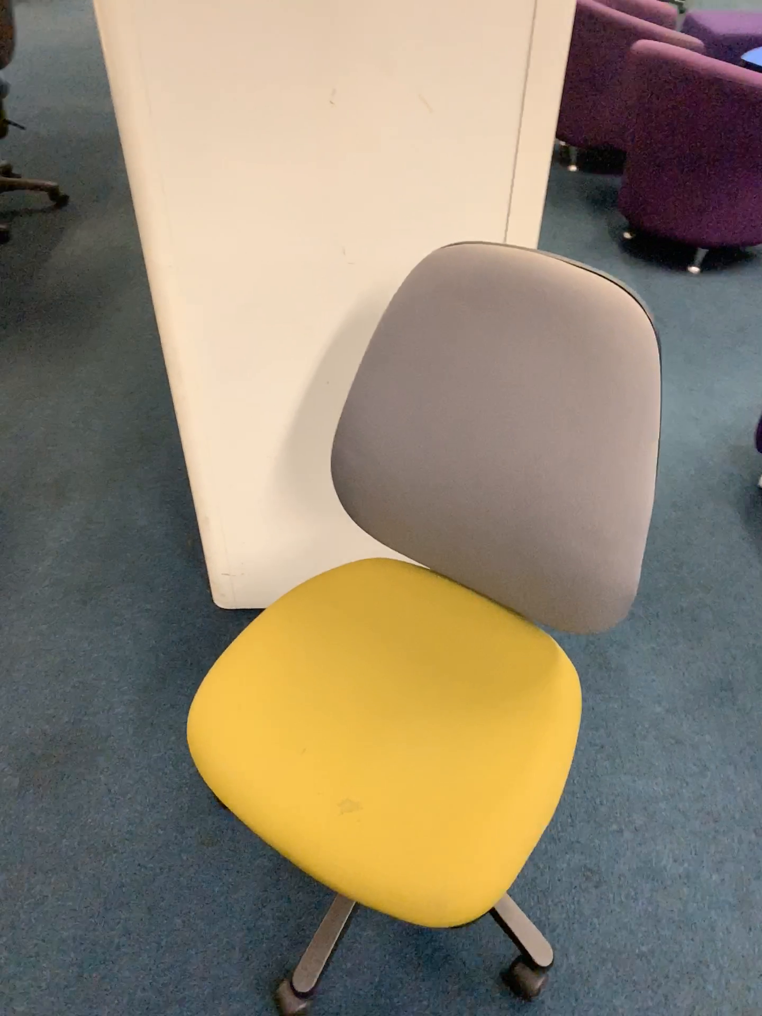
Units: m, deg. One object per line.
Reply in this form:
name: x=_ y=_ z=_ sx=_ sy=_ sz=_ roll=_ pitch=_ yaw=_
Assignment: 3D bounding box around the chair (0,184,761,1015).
chair: x=0.034 y=0.222 z=1.006 sx=0.642 sy=0.921 sz=0.665 roll=25 pitch=47 yaw=23
